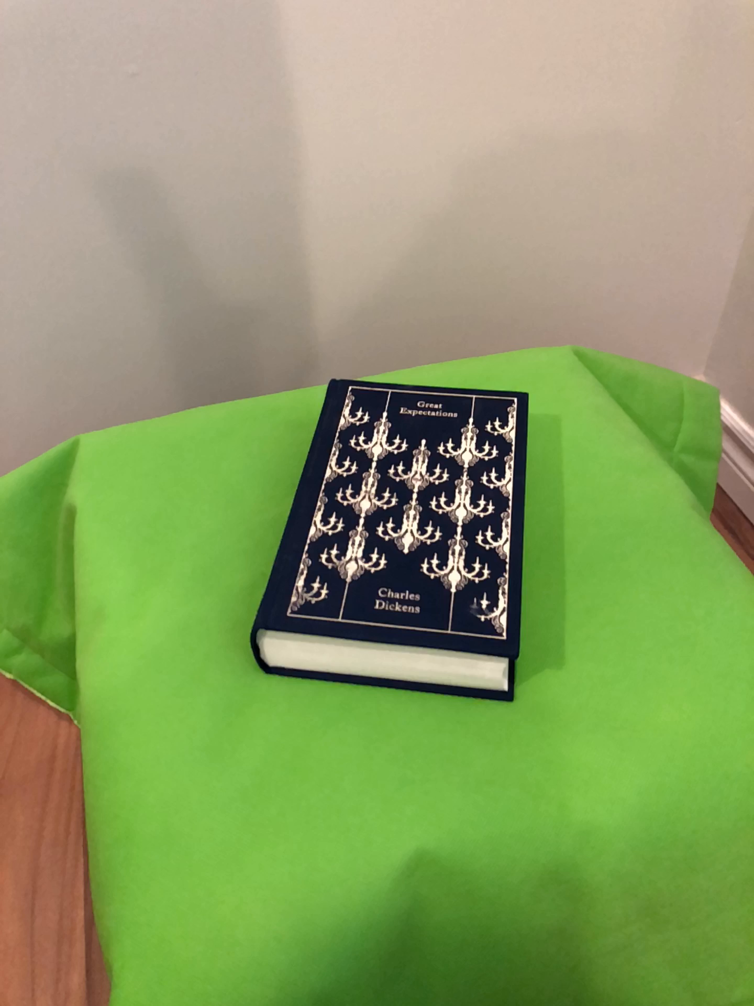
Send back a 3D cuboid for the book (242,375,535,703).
[{"bbox_3d":[0.019,0.008,0.491,0.140,0.040,0.211,5,45,7],"label":"book"}]
